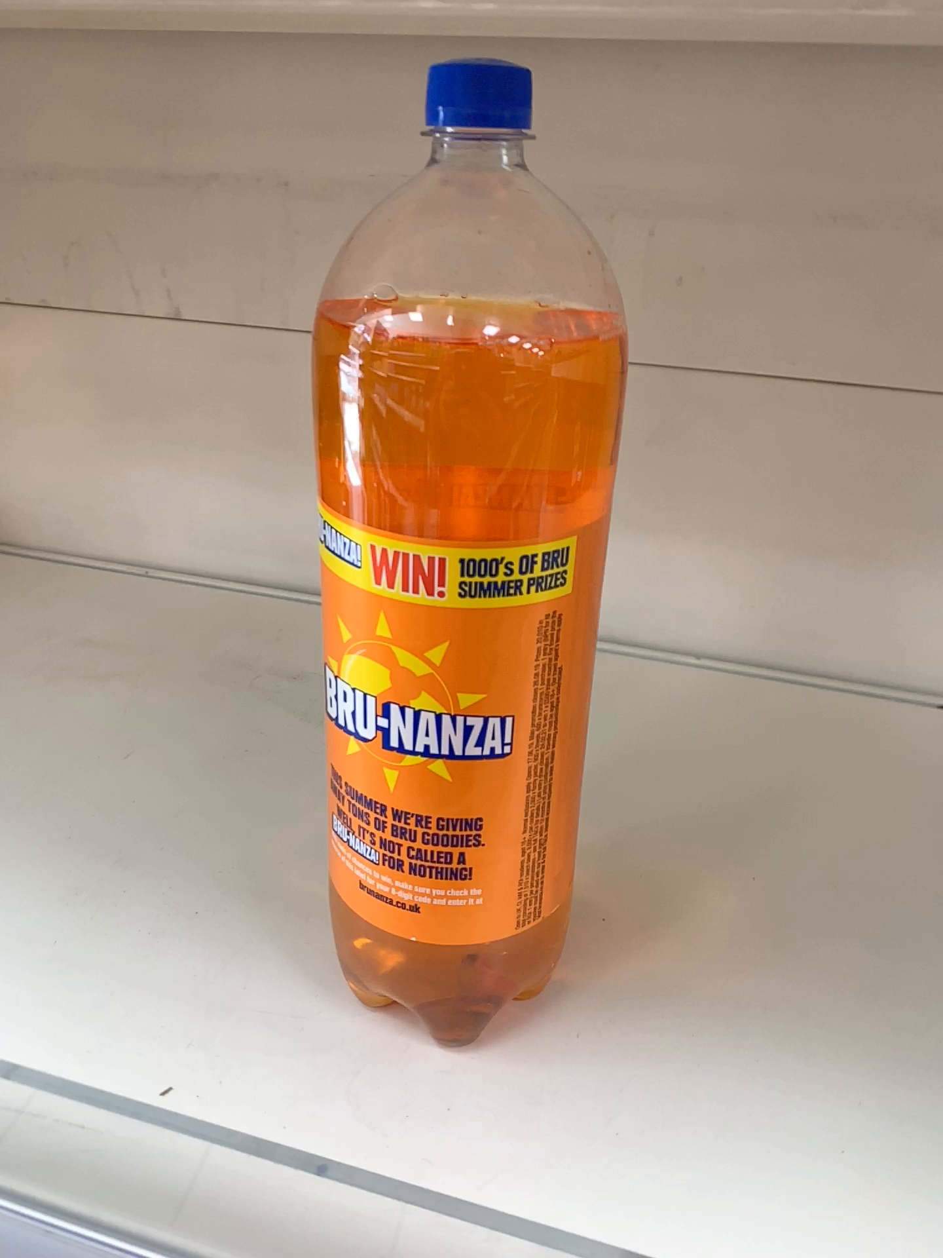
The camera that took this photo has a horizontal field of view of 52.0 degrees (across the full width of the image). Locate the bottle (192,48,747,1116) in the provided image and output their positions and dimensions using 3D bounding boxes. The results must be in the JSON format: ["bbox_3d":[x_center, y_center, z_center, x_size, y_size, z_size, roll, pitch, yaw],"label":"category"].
[{"bbox_3d":[-0.001,-0.008,0.337,0.110,0.327,0.111,2,27,-1],"label":"bottle"}]
